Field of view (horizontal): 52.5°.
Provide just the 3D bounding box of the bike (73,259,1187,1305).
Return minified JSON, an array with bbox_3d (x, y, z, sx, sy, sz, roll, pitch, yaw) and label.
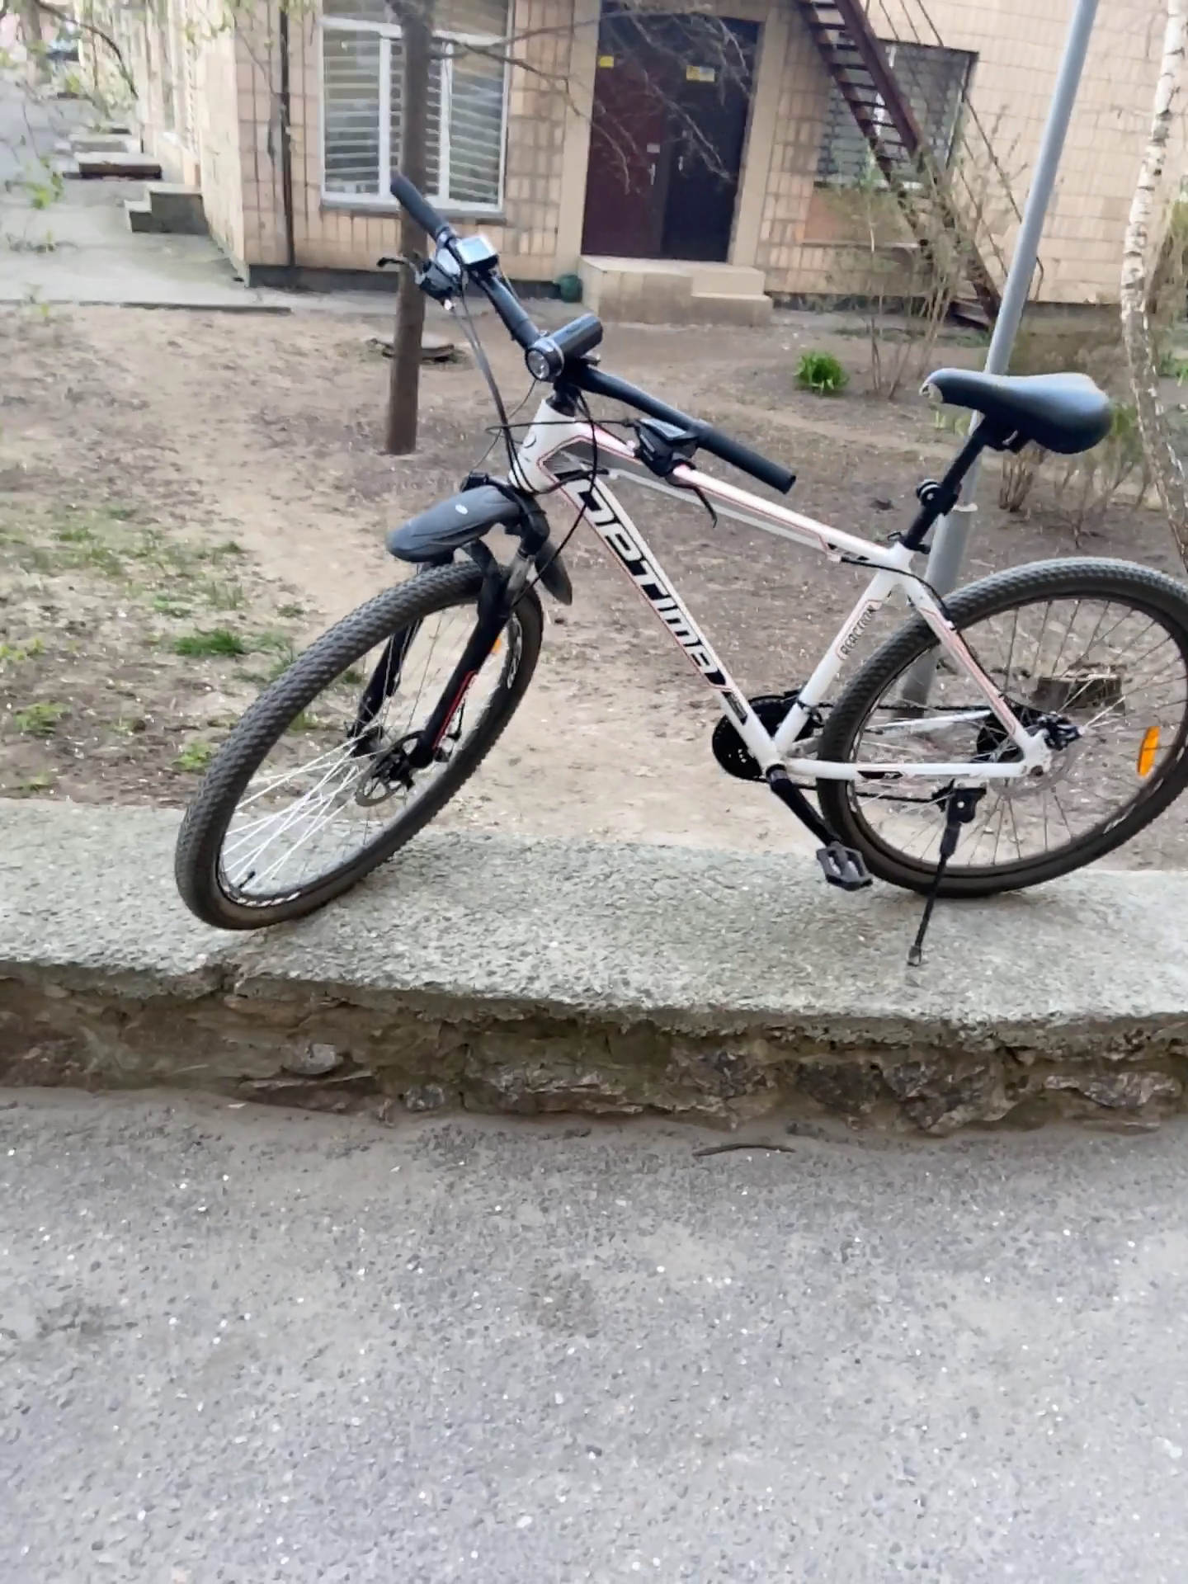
[{"bbox_3d":[0.292,-0.115,1.782,1.753,1.143,0.681,-6,32,-16],"label":"bike"}]
